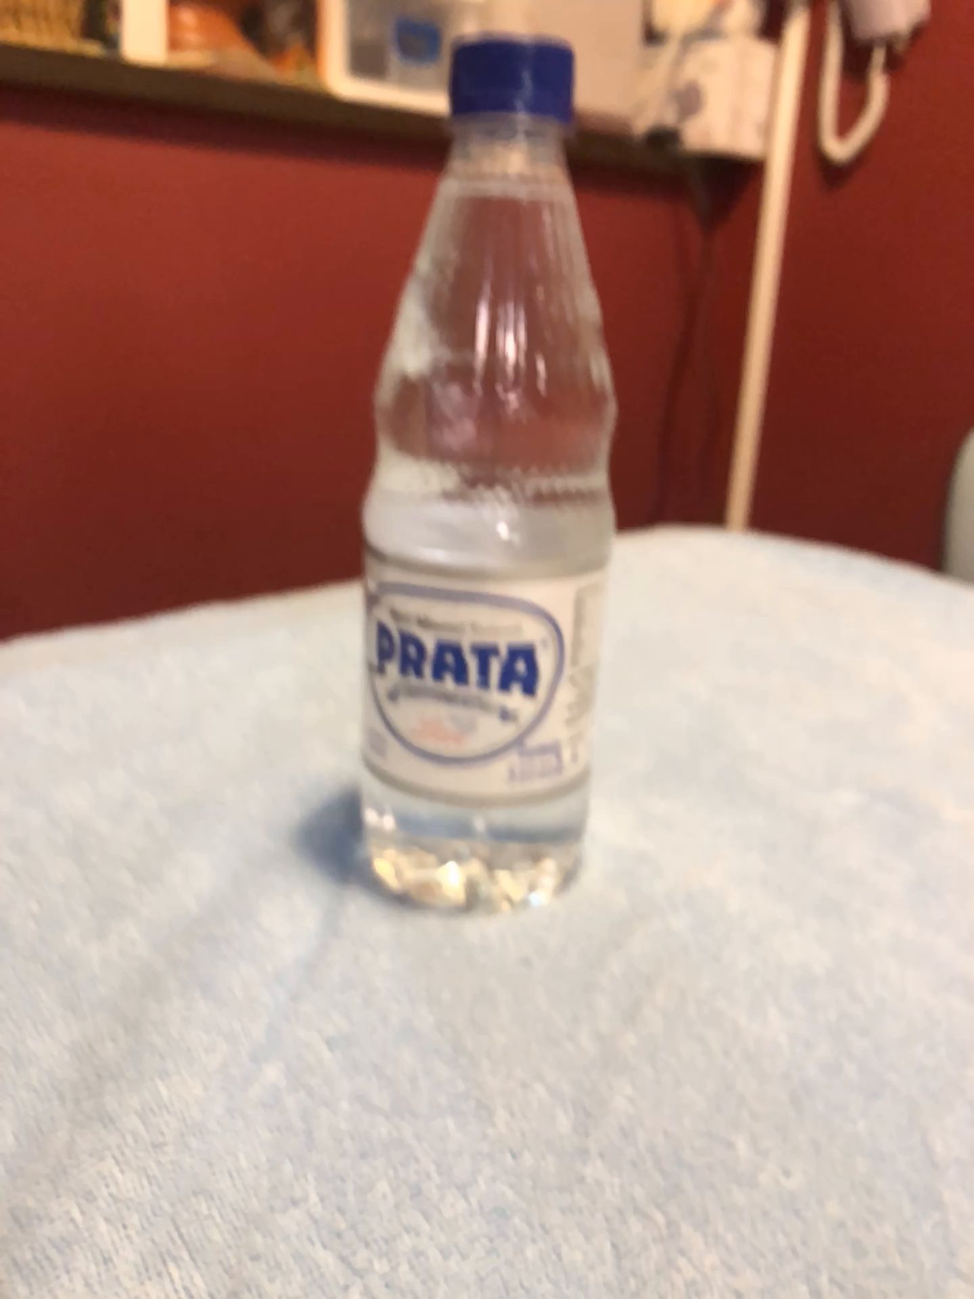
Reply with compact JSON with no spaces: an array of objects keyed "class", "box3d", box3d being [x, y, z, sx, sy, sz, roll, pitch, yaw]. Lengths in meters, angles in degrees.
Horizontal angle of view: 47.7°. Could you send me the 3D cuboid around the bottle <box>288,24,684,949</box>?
[{"class":"bottle","box3d":[-0.002,-0.040,0.301,0.080,0.219,0.070,8,19,14]}]
